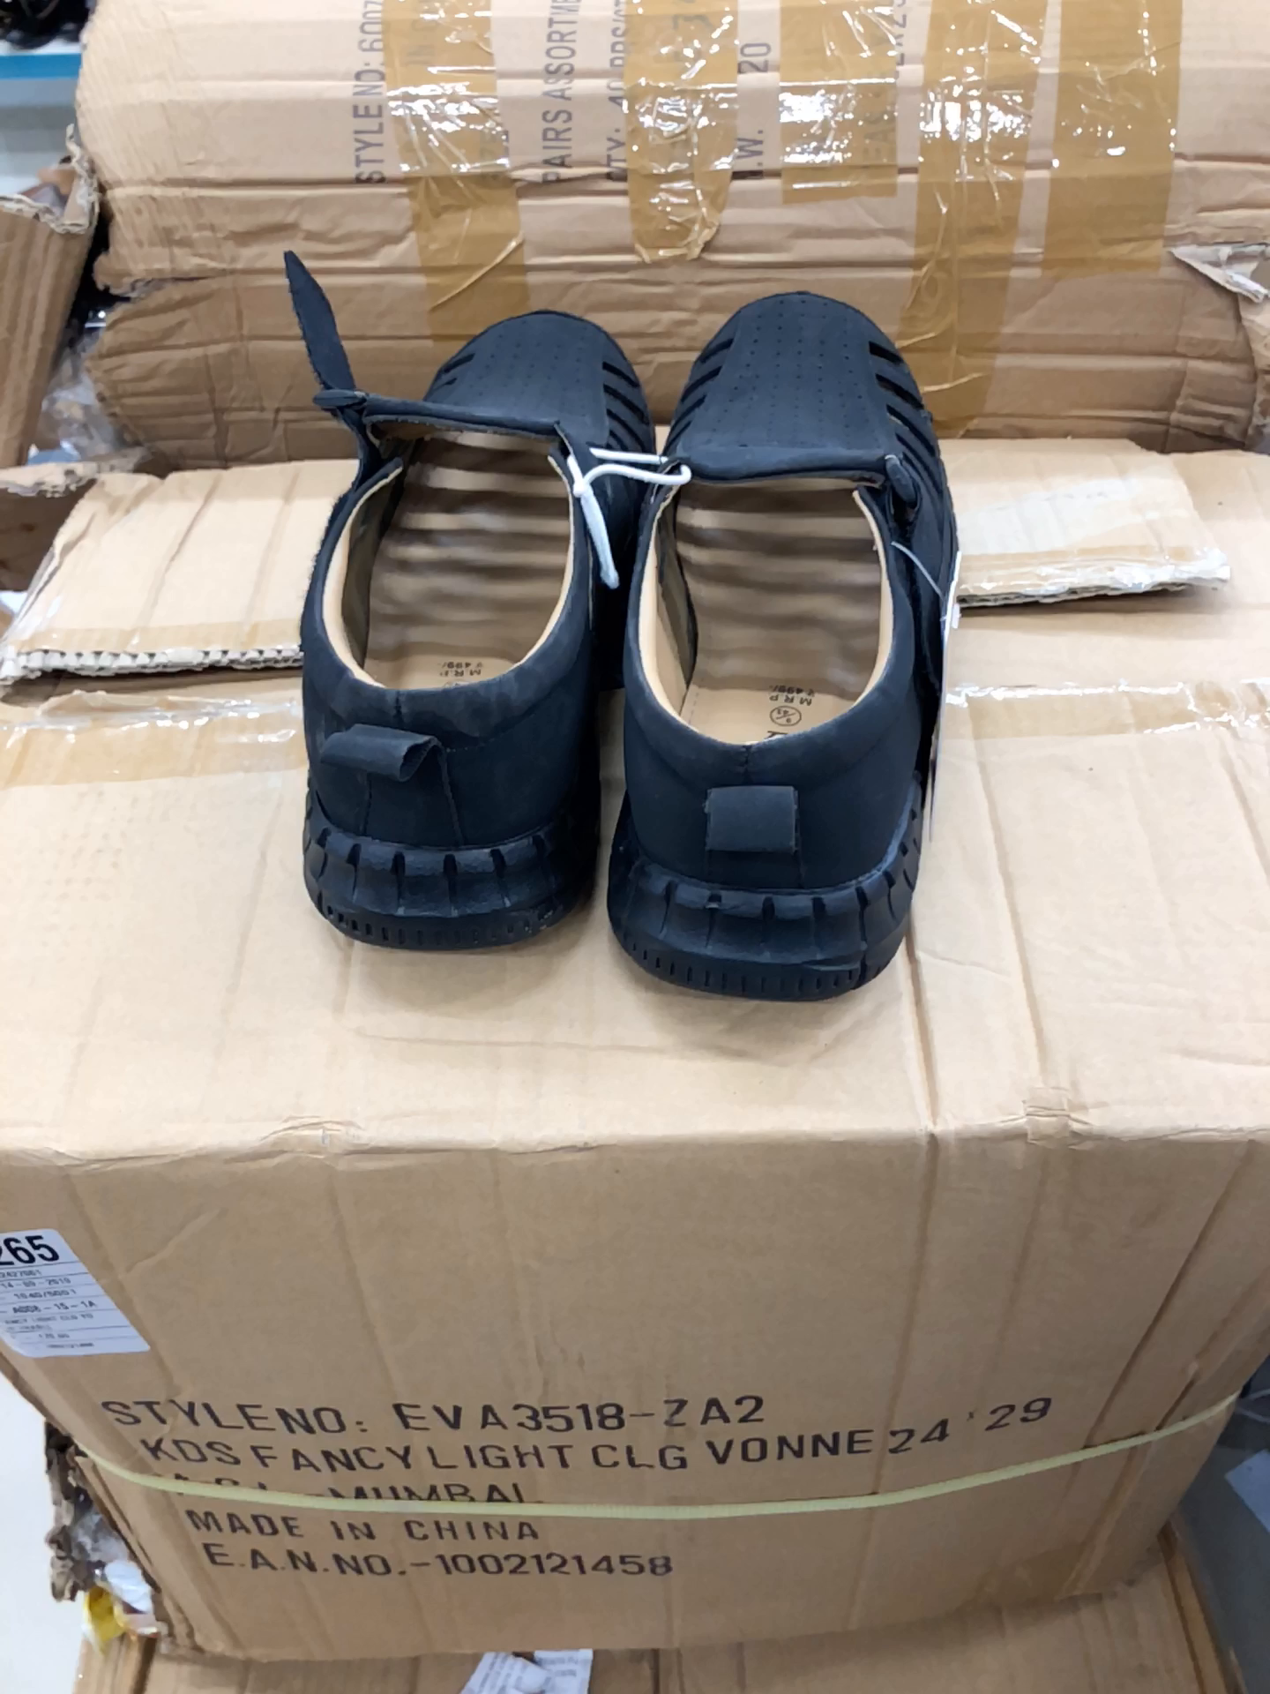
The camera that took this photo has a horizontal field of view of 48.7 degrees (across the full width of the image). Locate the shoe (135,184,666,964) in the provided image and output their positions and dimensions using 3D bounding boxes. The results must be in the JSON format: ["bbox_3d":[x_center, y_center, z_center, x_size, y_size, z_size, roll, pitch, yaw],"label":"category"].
[{"bbox_3d":[-0.048,-0.103,0.438,0.110,0.099,0.282,0,44,2],"label":"shoe"}]

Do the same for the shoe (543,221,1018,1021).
[{"bbox_3d":[0.046,-0.088,0.428,0.100,0.099,0.272,3,44,6],"label":"shoe"}]
